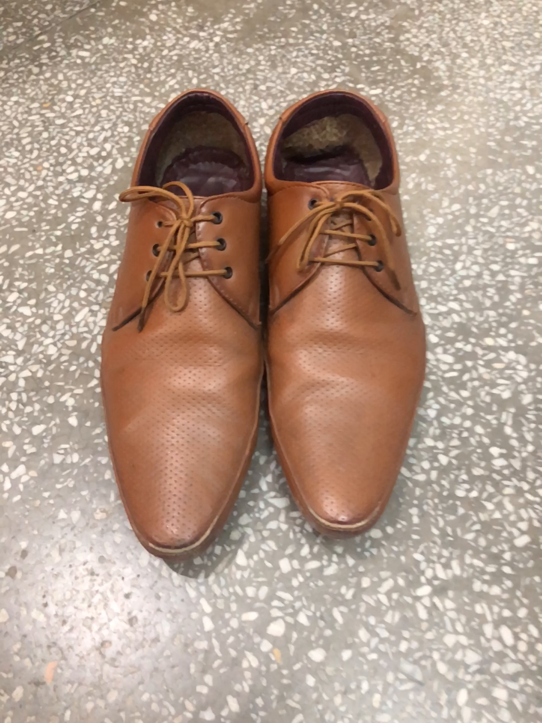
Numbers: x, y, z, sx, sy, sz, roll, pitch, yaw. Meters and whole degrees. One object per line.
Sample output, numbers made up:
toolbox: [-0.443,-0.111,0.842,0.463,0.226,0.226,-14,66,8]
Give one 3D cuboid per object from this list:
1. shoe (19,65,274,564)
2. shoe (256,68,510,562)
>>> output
shoe: [-0.055,-0.035,0.369,0.105,0.118,0.285,0,62,-1]
shoe: [0.045,-0.035,0.373,0.105,0.118,0.285,0,62,-1]
